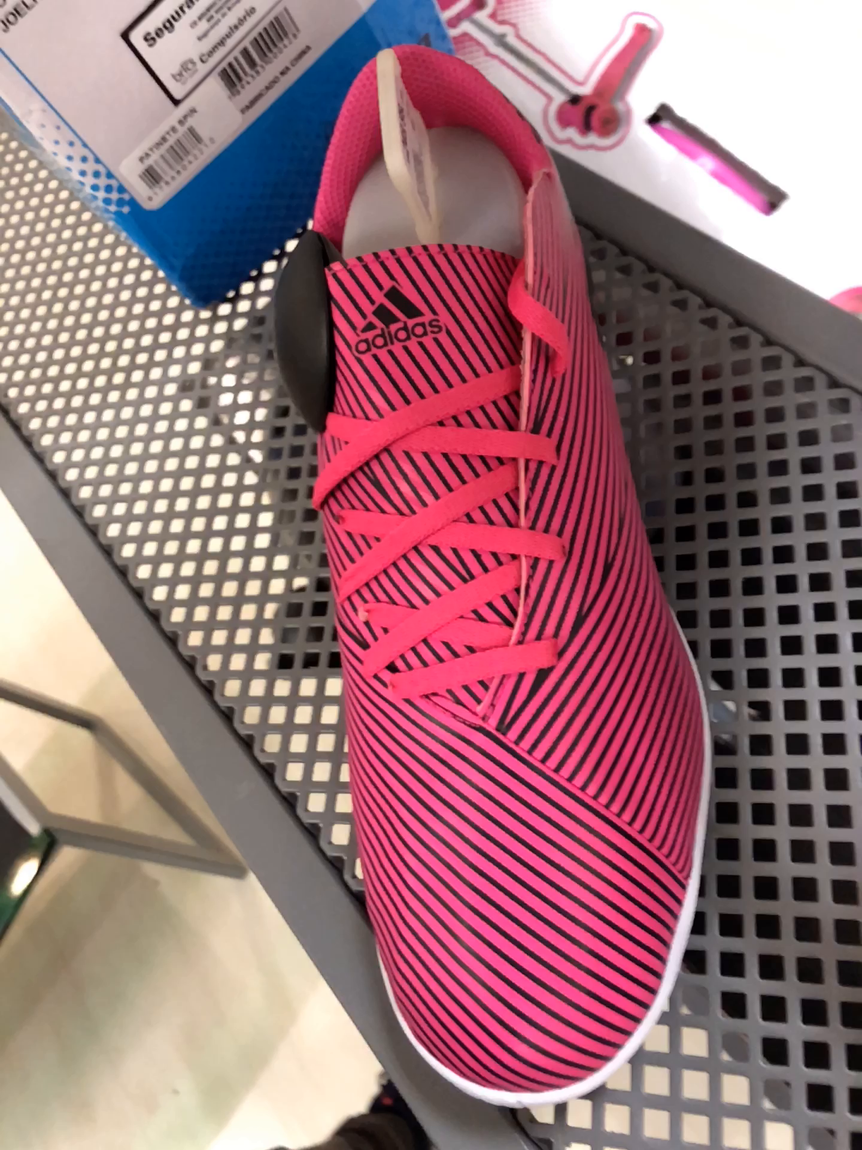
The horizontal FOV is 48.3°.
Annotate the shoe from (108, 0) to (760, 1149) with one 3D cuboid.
[{"bbox_3d":[0.010,-0.011,0.240,0.095,0.100,0.261,-9,64,21],"label":"shoe"}]
